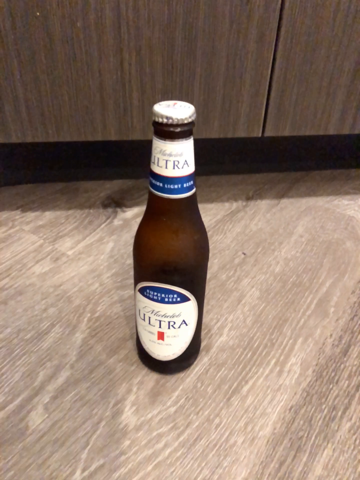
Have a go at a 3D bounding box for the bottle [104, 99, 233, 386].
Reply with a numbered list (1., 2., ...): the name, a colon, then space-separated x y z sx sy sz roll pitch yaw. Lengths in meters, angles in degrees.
1. bottle: -0.007 0.012 0.301 0.060 0.209 0.060 1 35 -1
